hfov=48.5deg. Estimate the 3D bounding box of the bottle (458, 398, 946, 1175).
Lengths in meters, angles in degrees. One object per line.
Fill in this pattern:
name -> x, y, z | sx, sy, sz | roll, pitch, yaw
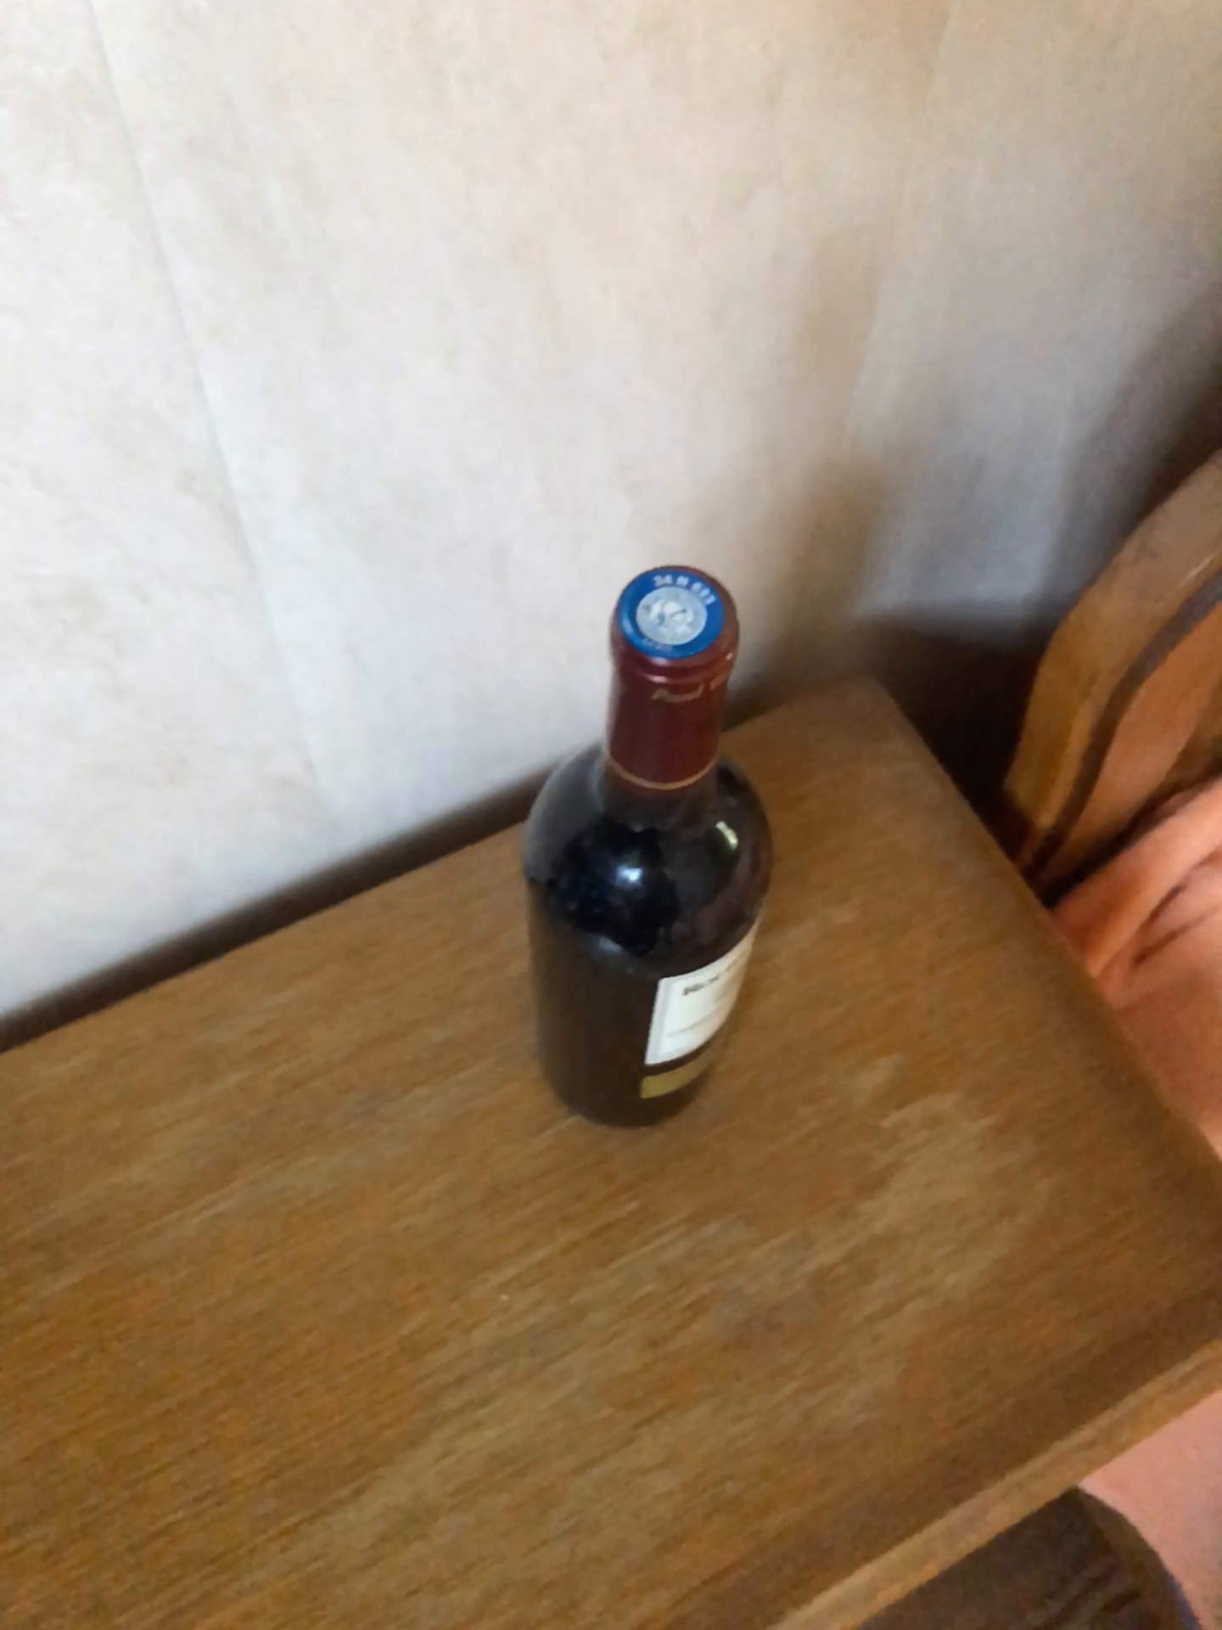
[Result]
bottle -> 0.017, 0.020, 0.432 | 0.080, 0.299, 0.080 | 1, 61, -2
